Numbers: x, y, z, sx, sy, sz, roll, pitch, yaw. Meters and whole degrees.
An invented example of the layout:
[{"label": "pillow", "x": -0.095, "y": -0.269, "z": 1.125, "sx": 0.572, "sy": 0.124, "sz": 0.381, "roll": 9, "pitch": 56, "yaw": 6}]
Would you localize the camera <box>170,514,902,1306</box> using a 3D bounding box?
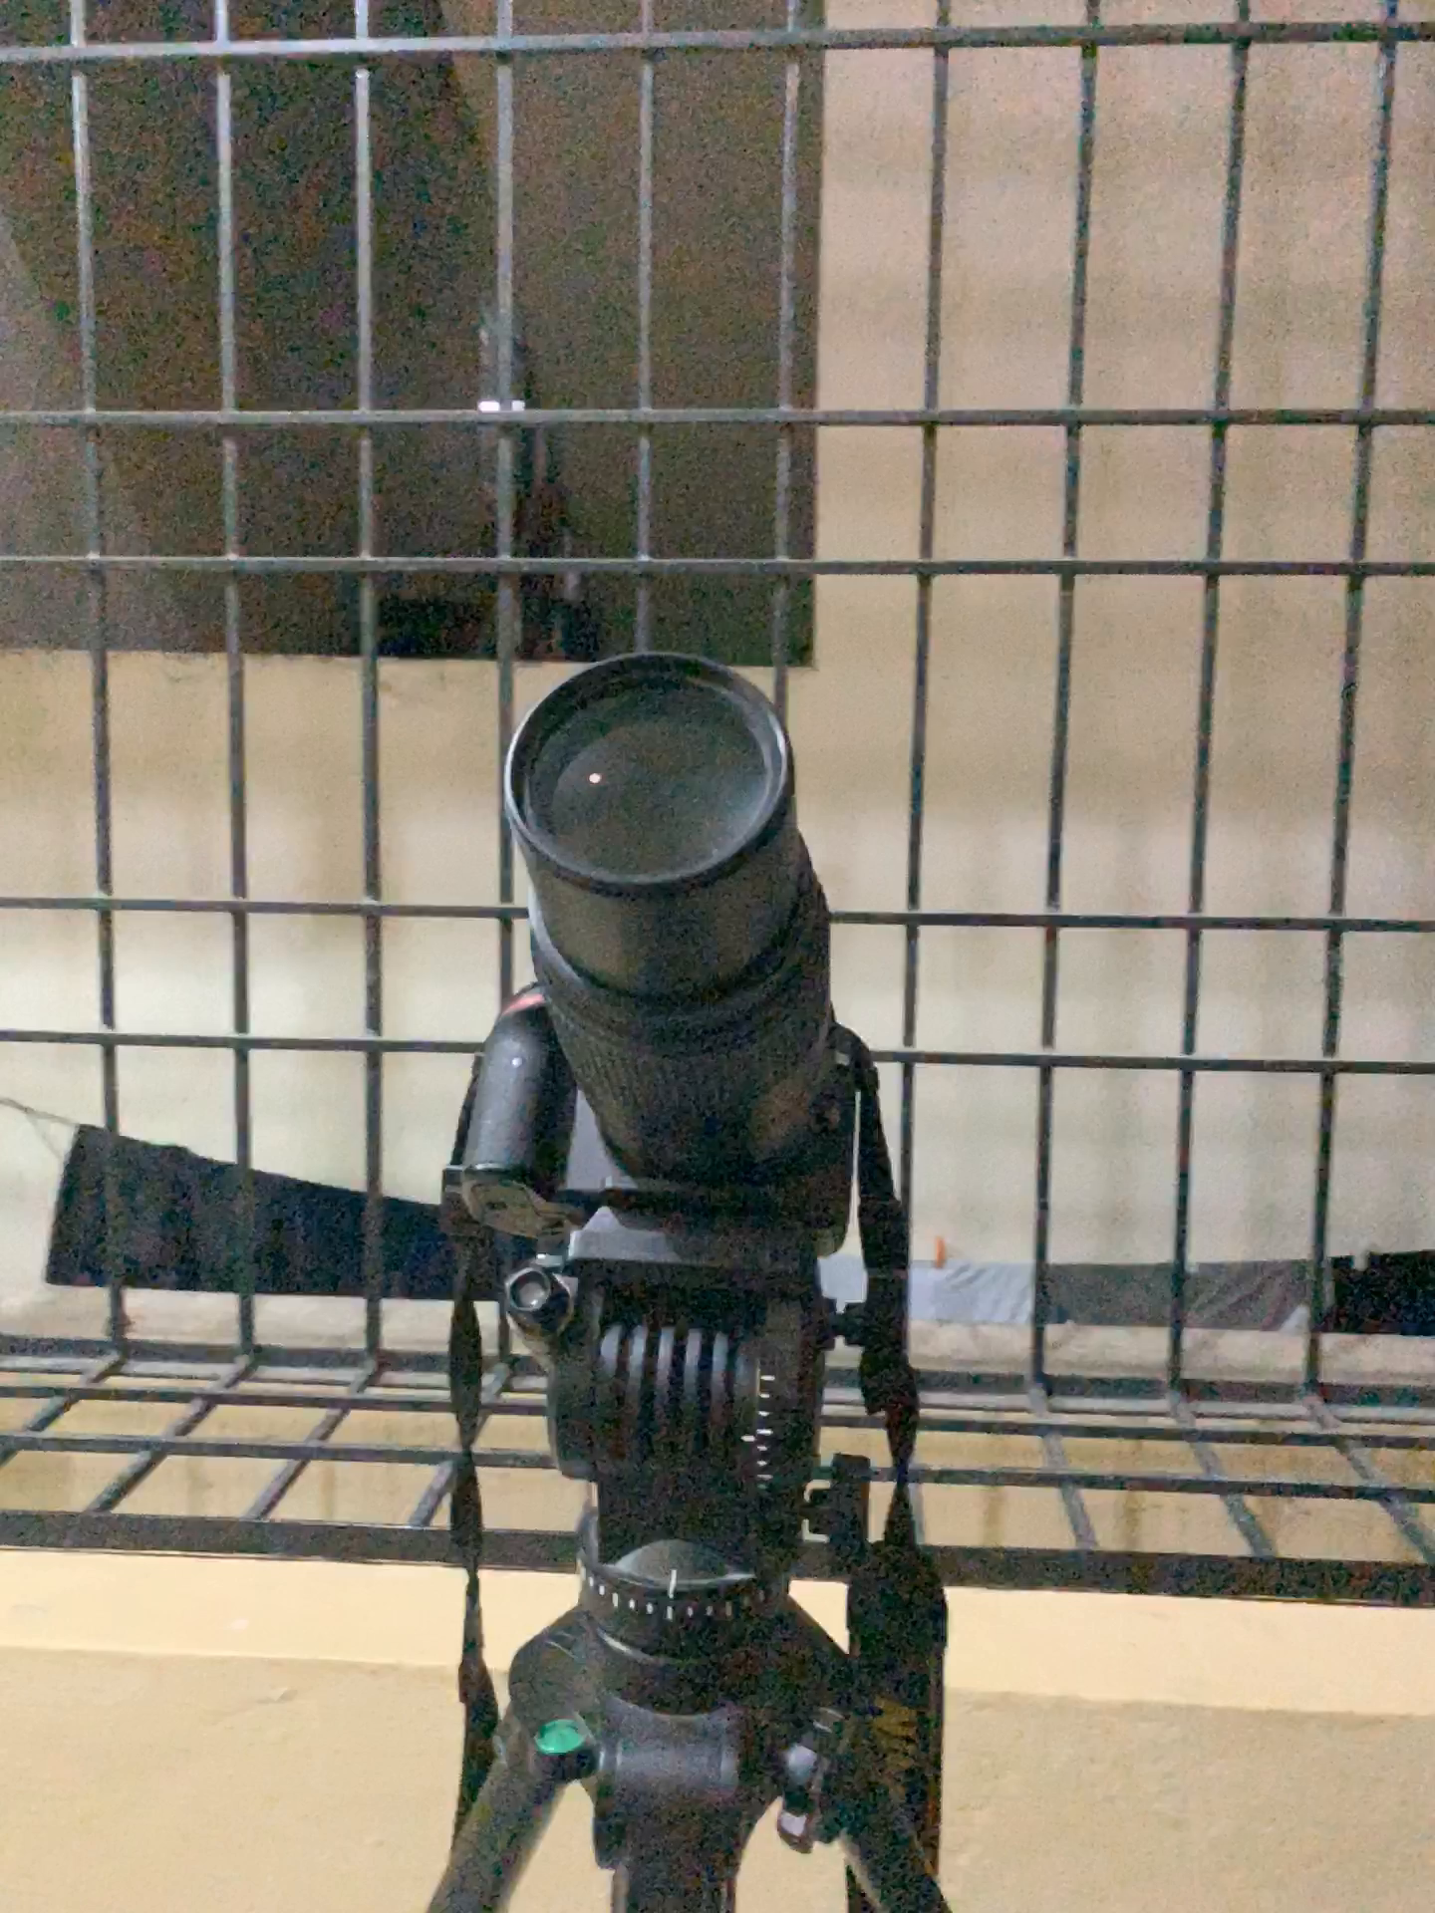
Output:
[{"label": "camera", "x": -0.023, "y": 0.002, "z": 0.385, "sx": 0.136, "sy": 0.101, "sz": 0.209, "roll": 2, "pitch": -34, "yaw": 7}]
